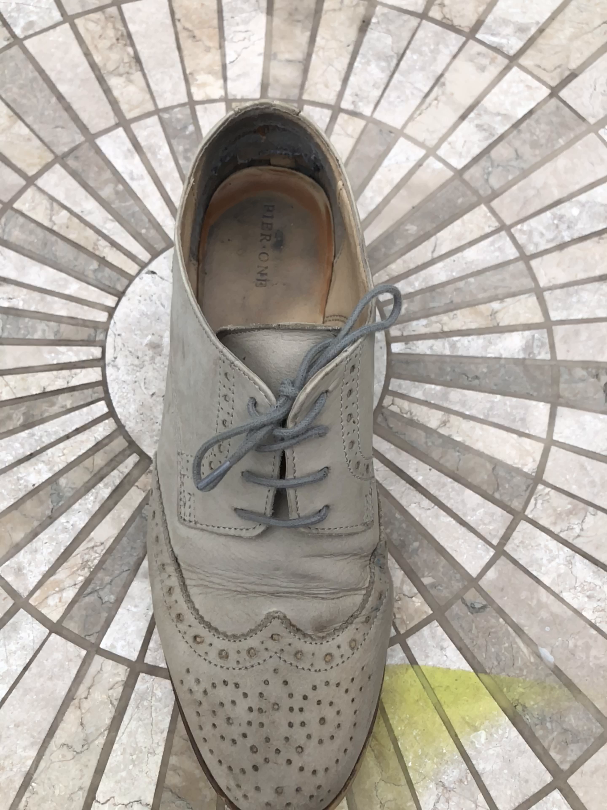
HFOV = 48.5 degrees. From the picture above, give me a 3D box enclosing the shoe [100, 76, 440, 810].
[{"bbox_3d":[-0.013,0.013,0.251,0.090,0.079,0.257,-1,74,-1],"label":"shoe"}]
